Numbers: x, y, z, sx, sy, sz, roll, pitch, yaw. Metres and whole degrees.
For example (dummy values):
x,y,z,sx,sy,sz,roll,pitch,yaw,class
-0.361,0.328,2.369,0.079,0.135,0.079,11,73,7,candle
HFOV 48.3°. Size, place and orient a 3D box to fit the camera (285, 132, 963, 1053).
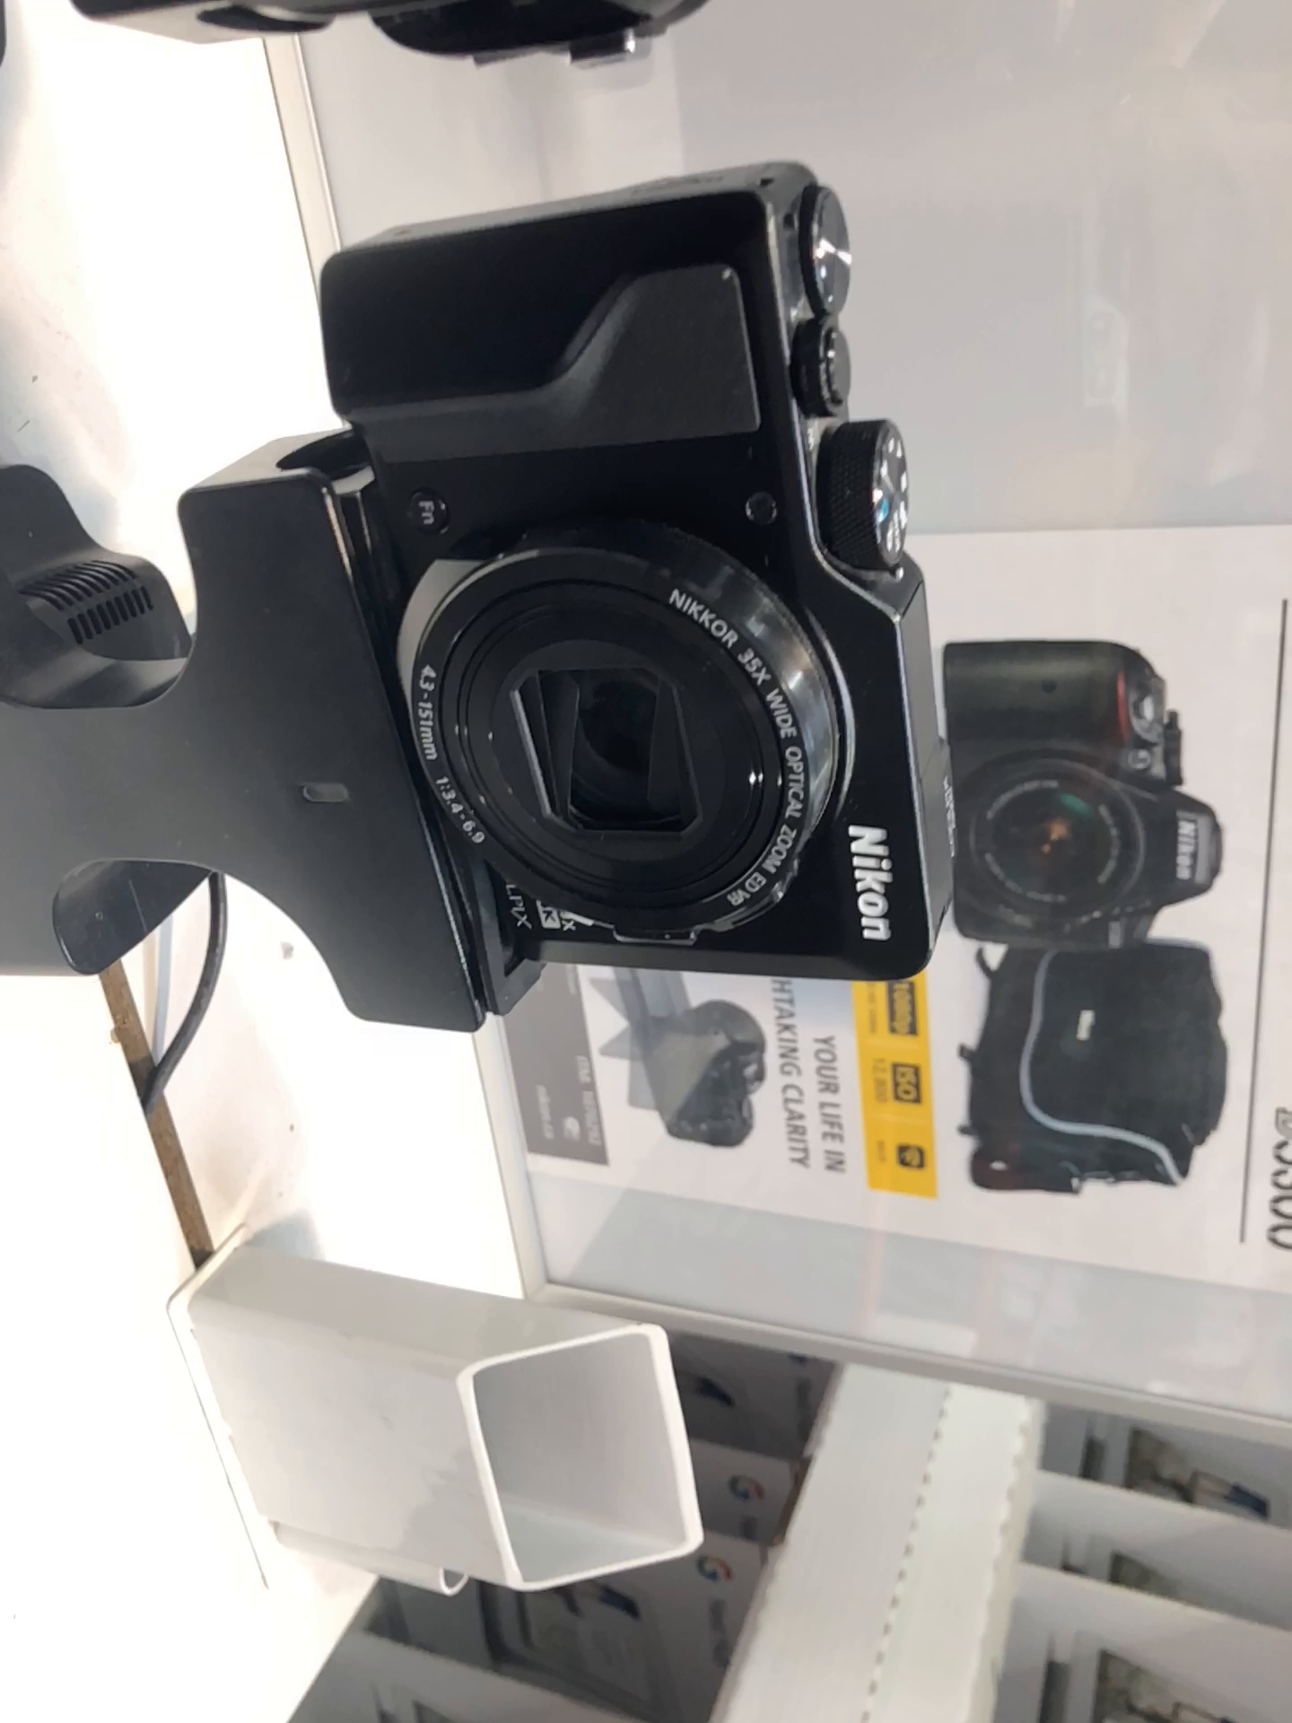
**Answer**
x,y,z,sx,sy,sz,roll,pitch,yaw,class
0.006,-0.032,0.208,0.044,0.069,0.117,-67,152,-50,camera
